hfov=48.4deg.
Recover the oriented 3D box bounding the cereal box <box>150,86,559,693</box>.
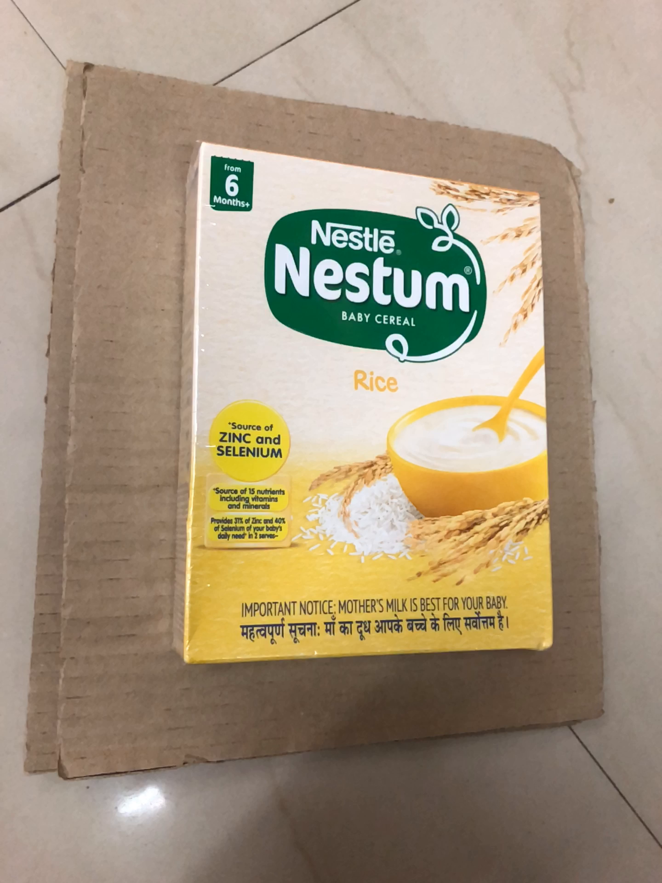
[{"bbox_3d":[0.008,-0.017,0.302,0.150,0.060,0.210,2,83,-18],"label":"cereal box"}]
